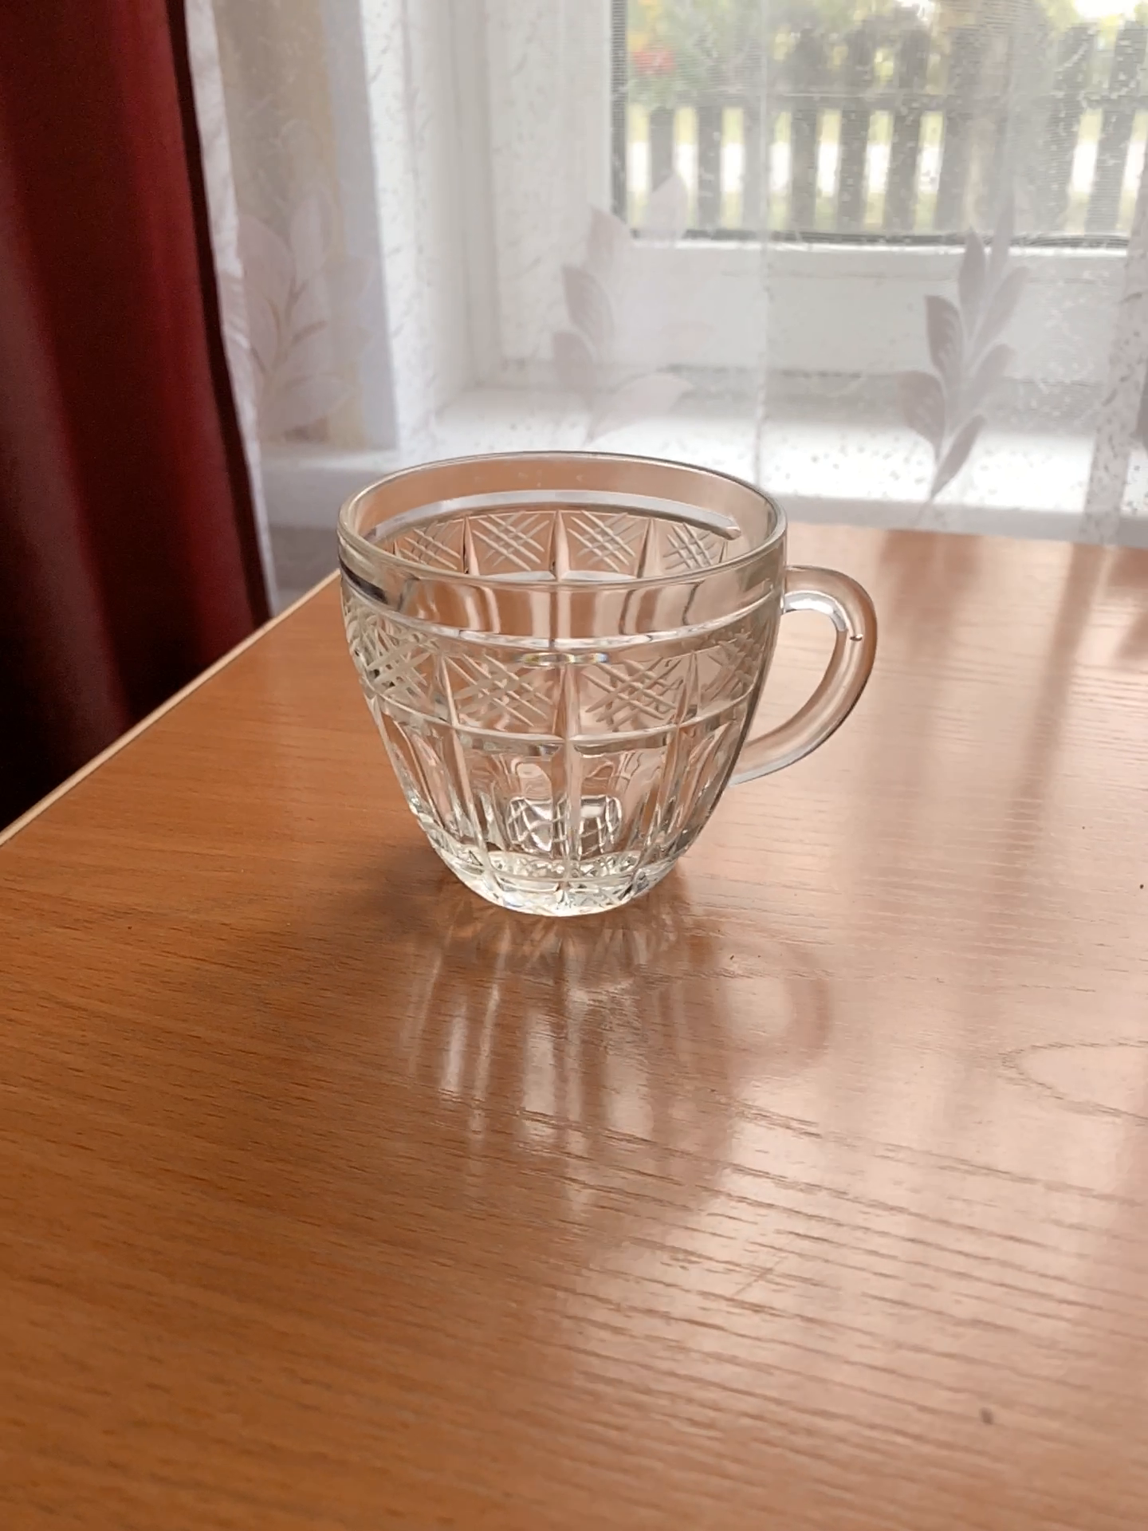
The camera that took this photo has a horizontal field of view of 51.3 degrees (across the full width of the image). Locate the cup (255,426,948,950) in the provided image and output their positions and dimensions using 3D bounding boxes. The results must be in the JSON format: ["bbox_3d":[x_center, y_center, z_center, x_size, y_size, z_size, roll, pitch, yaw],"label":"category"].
[{"bbox_3d":[0.006,-0.019,0.225,0.100,0.066,0.083,1,32,3],"label":"cup"}]
